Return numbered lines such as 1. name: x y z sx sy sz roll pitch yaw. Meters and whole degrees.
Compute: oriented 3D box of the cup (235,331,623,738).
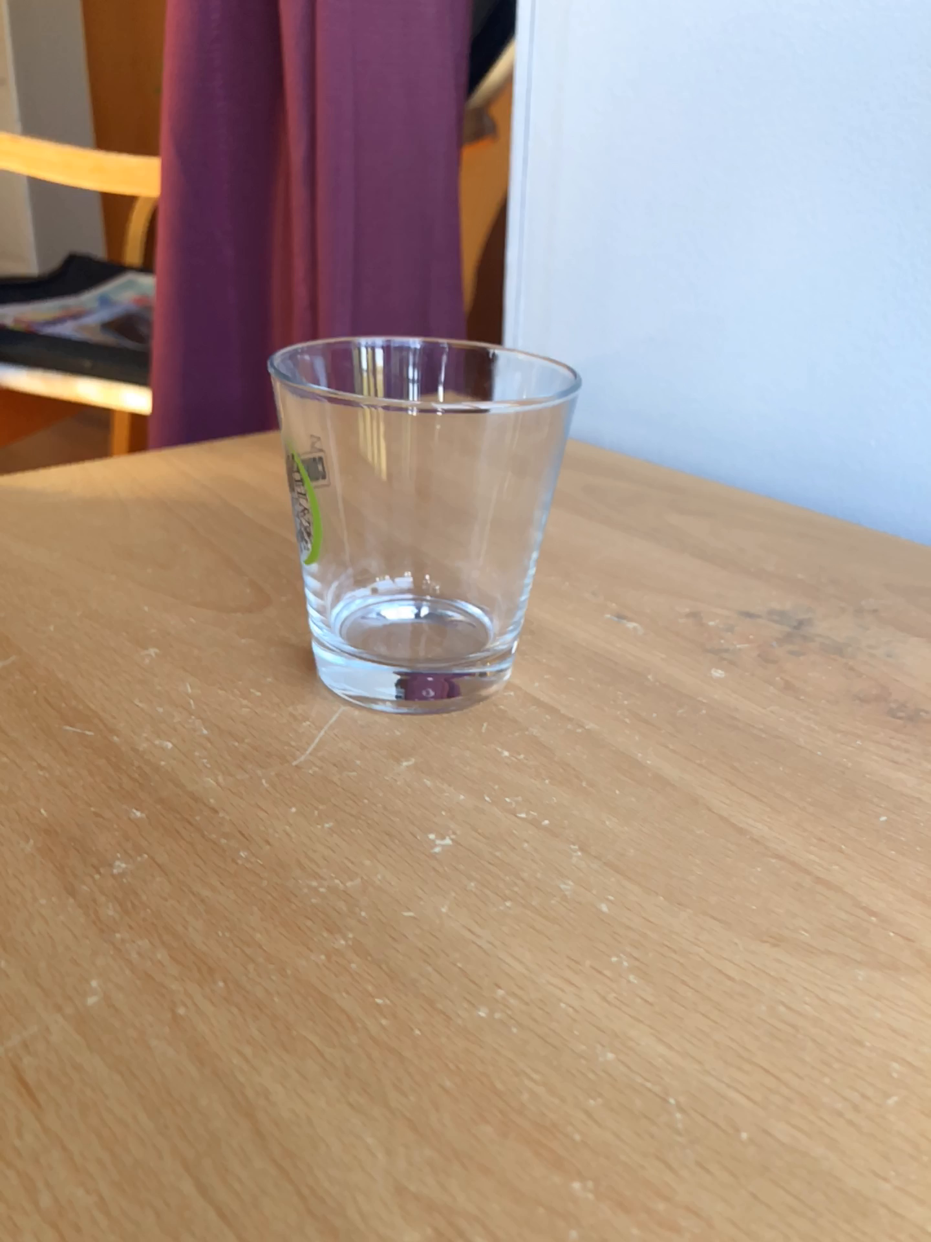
1. cup: -0.008 -0.025 0.253 0.076 0.073 0.079 2 23 -1
